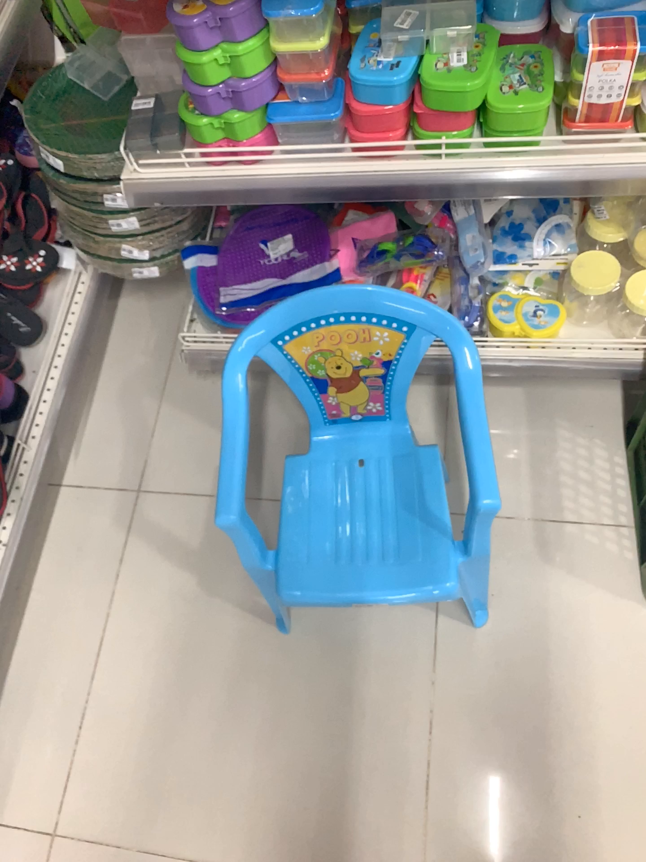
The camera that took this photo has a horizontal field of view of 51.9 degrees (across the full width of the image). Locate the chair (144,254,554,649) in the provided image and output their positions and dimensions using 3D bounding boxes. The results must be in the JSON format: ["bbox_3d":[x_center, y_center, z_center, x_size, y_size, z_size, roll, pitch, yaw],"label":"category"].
[{"bbox_3d":[0.053,0.083,0.927,0.390,0.509,0.350,-5,65,8],"label":"chair"}]
